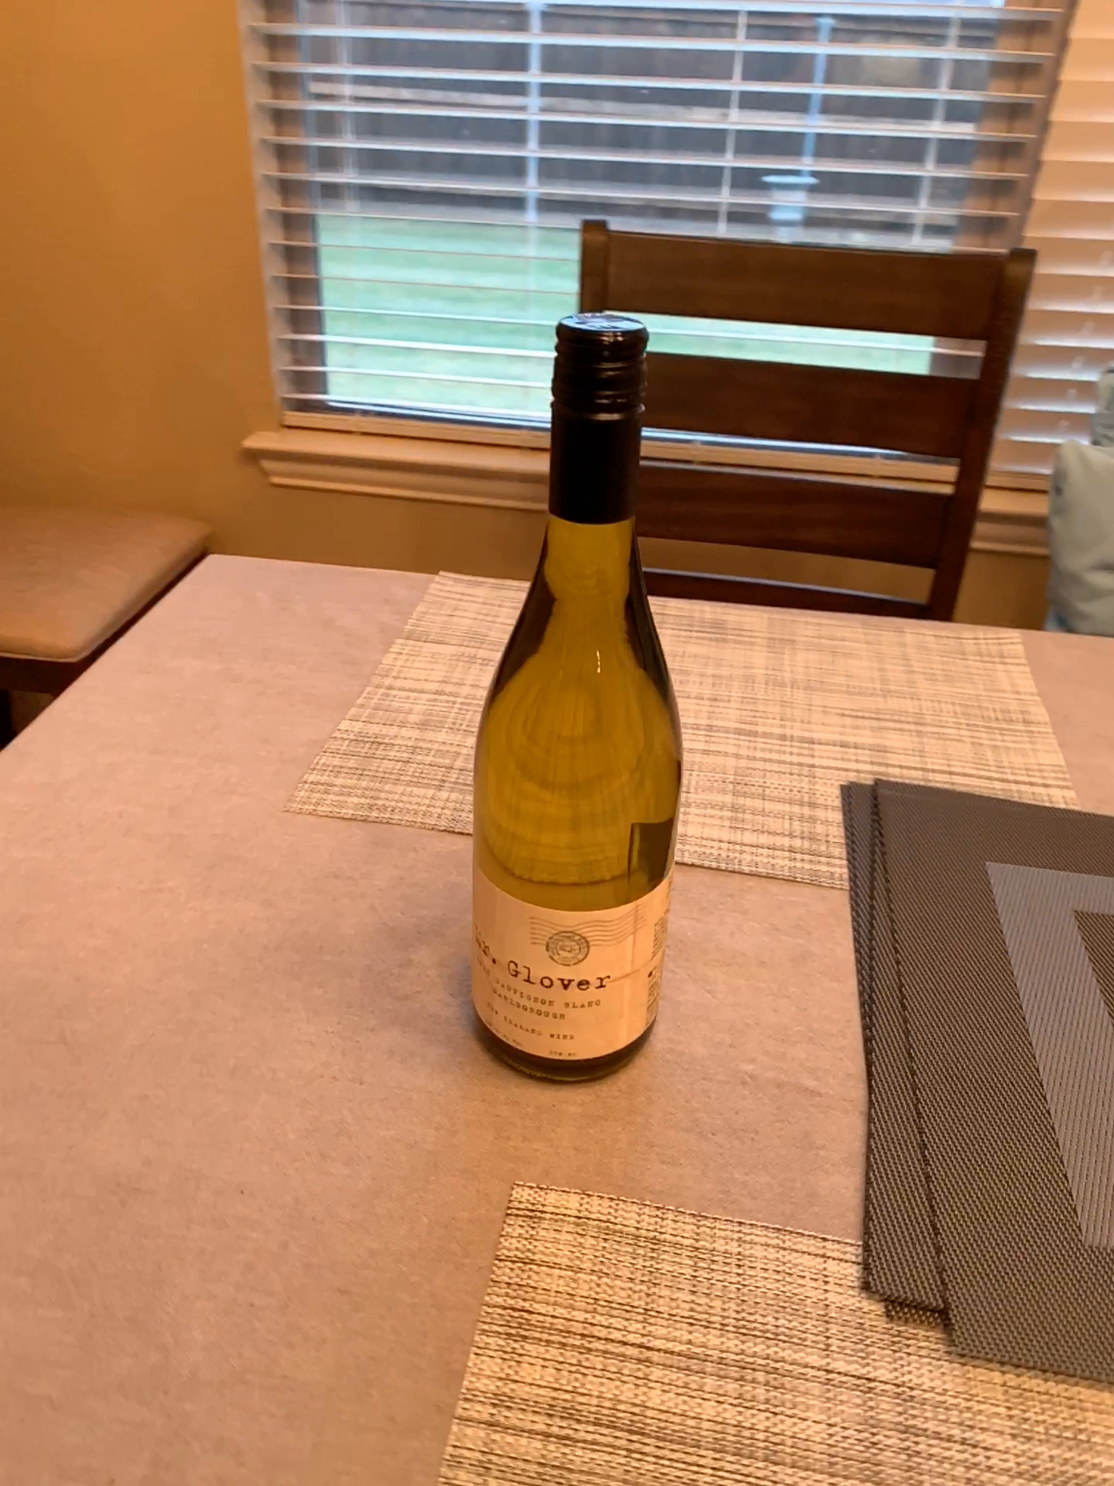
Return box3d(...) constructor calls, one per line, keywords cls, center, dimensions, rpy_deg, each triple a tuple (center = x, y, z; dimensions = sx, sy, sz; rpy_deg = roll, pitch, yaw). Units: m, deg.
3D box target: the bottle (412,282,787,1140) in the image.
box3d(cls="bottle", center=(0.011, -0.001, 0.425), dimensions=(0.090, 0.298, 0.090), rpy_deg=(2, 31, -1))
